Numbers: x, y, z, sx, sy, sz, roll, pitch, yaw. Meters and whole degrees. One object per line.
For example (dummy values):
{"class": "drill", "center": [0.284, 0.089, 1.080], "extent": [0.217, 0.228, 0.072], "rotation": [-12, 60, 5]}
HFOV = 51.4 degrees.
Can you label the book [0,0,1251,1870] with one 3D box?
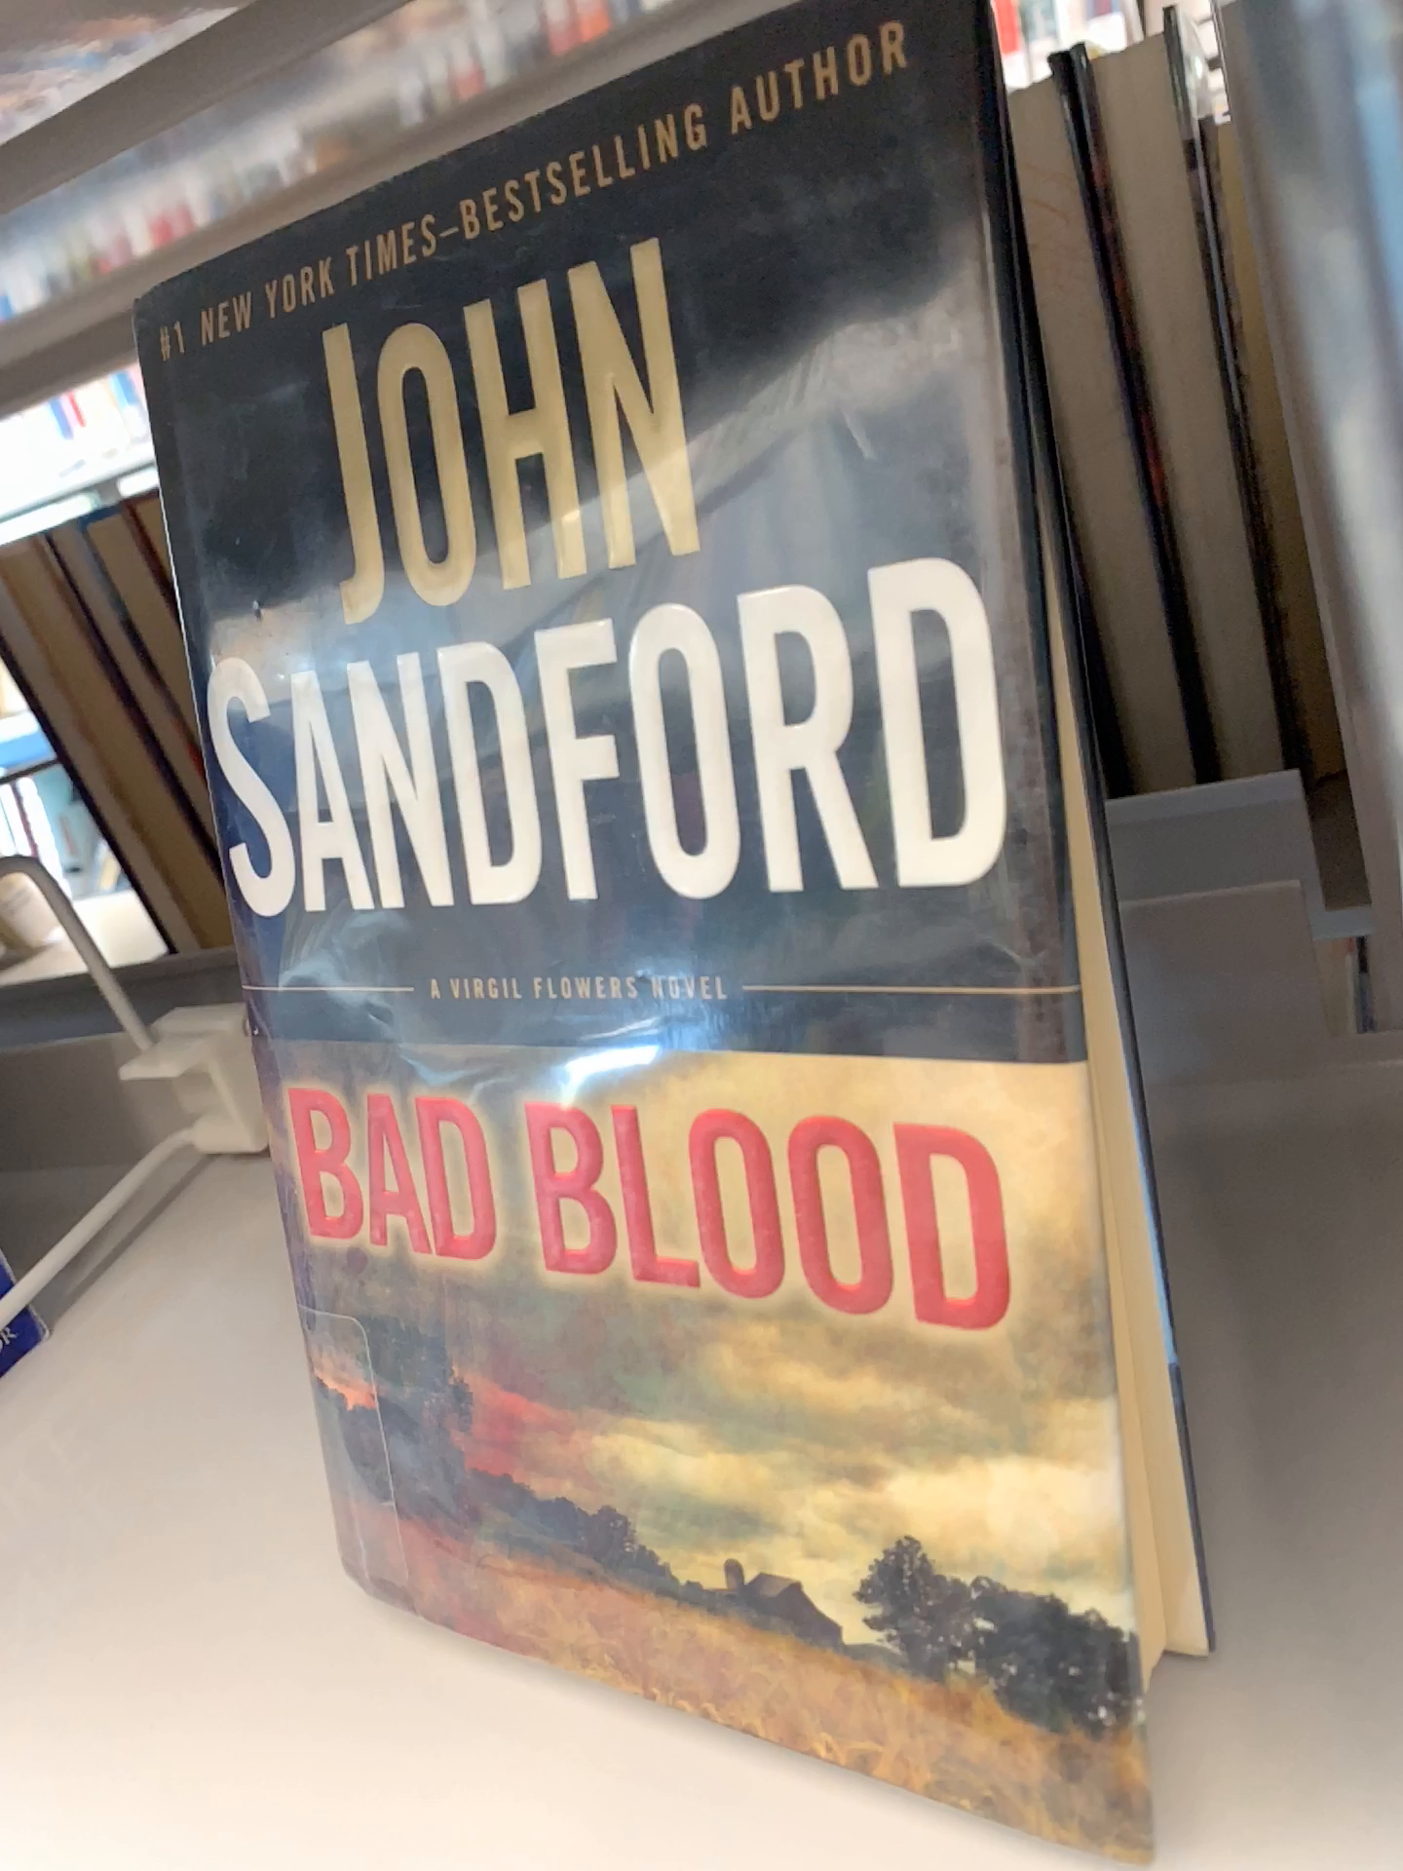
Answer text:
{"class": "book", "center": [-0.021, 0.003, 0.221], "extent": [0.166, 0.215, 0.050], "rotation": [-3, 12, 37]}
